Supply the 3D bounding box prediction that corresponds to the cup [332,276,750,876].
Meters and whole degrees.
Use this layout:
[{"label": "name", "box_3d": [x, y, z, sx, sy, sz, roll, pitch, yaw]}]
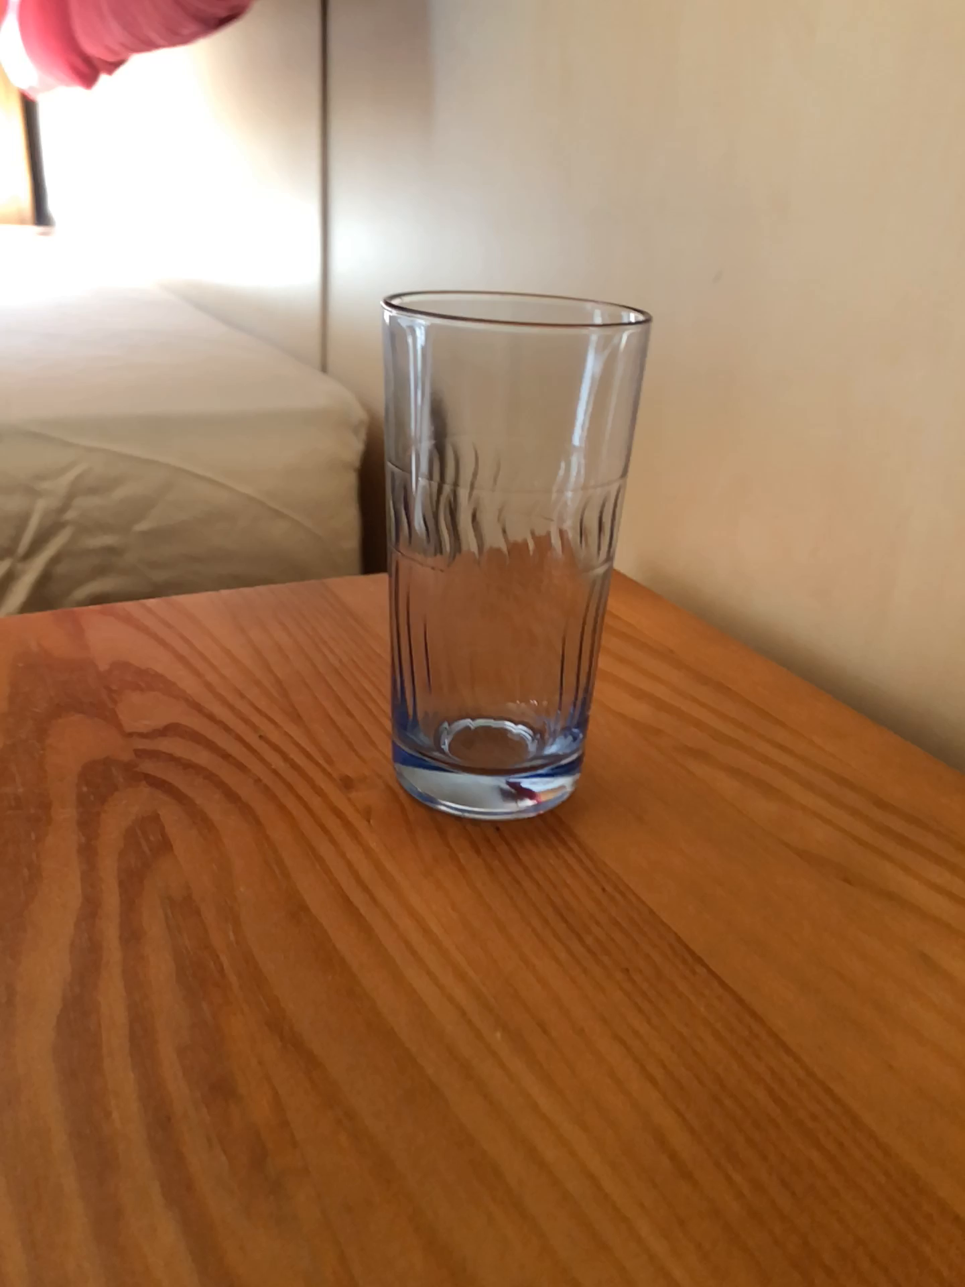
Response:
[{"label": "cup", "box_3d": [0.013, -0.024, 0.282, 0.070, 0.129, 0.076, 3, 24, -1]}]
